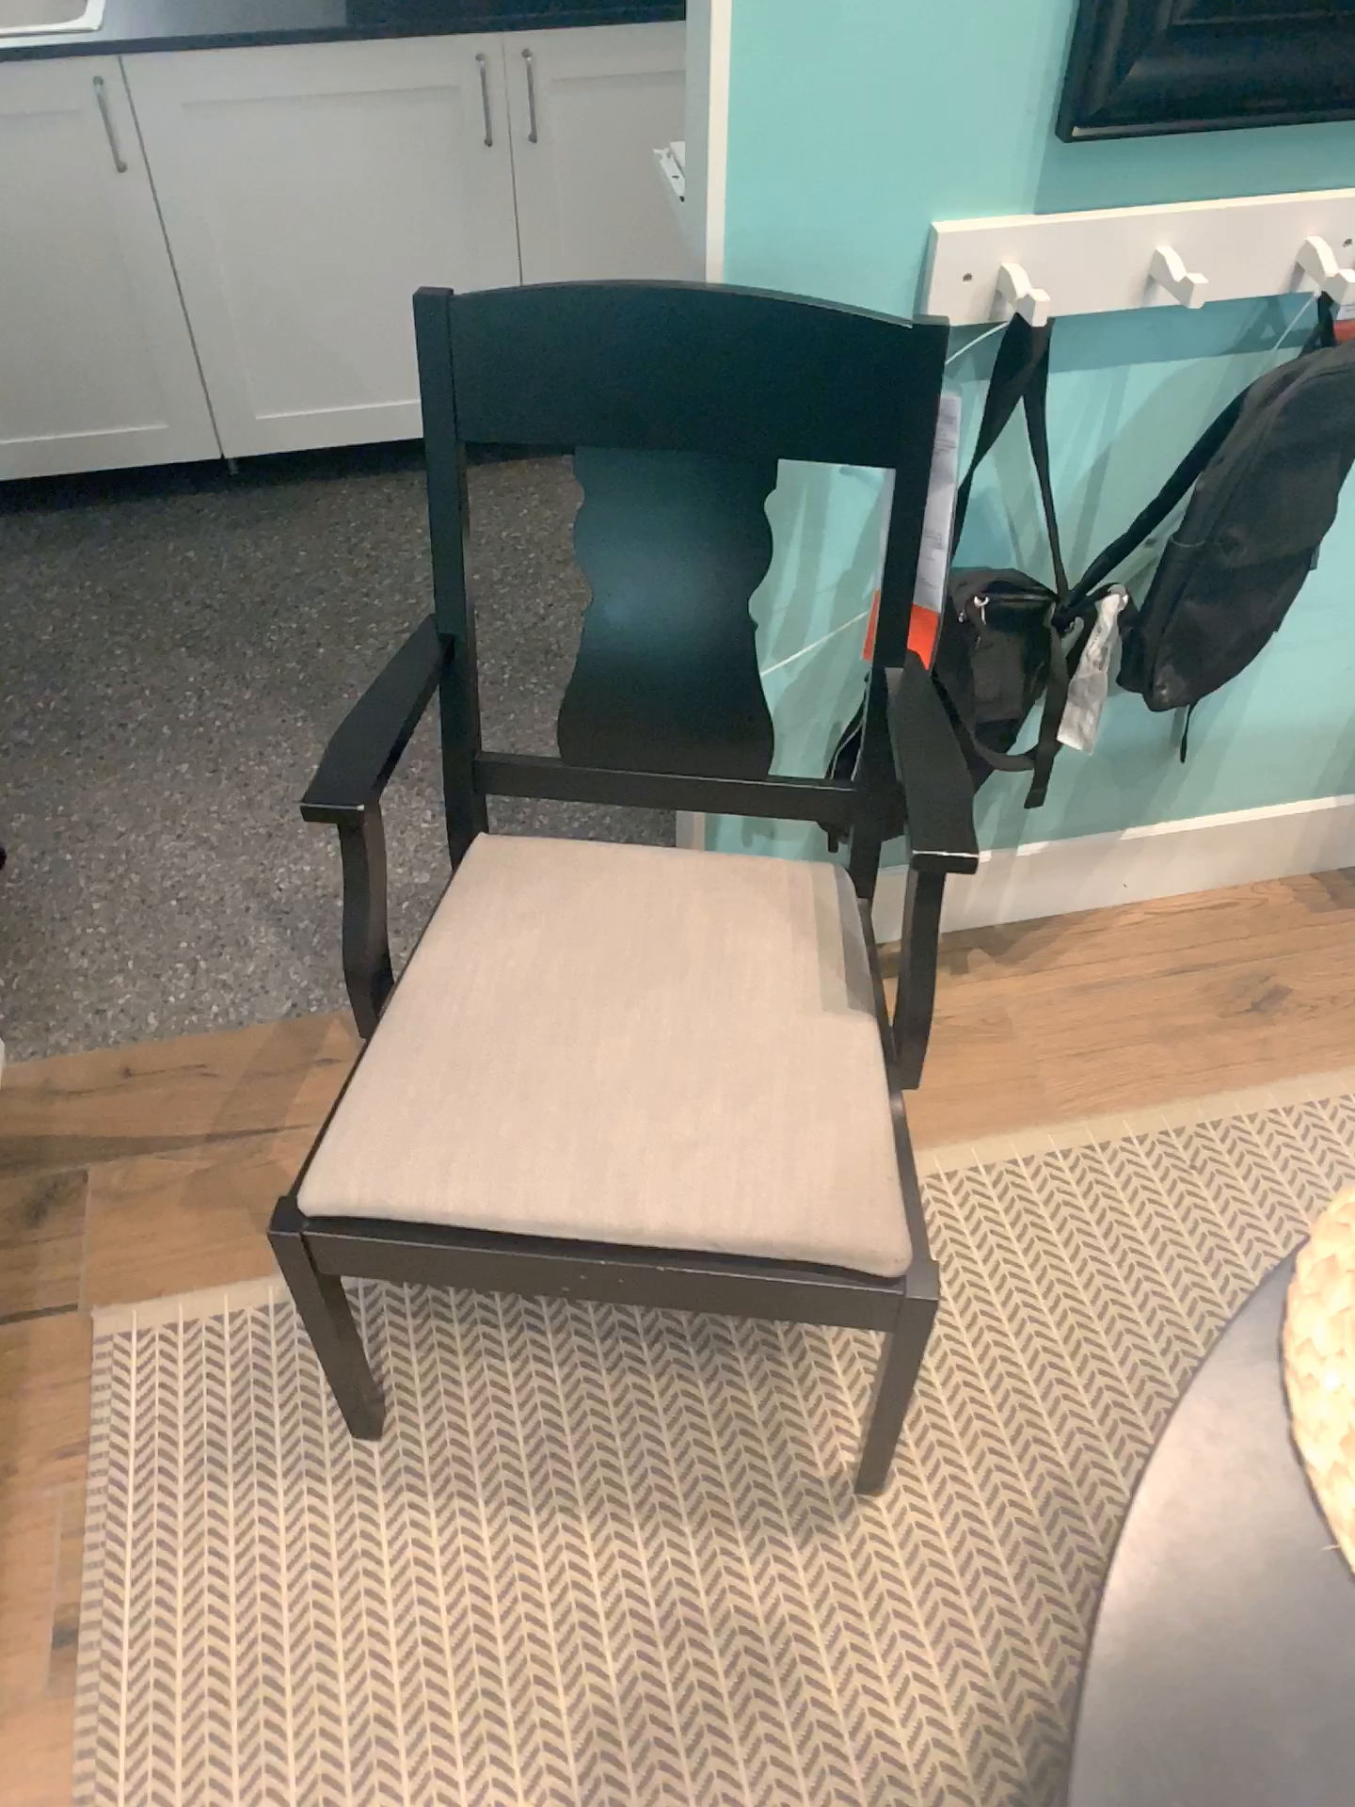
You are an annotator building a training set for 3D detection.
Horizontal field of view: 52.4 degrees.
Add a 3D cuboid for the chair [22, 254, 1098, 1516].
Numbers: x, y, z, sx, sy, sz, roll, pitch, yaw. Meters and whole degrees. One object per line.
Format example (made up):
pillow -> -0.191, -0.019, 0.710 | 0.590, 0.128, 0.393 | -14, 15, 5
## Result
chair -> -0.033, 0.000, 1.360 | 0.600, 0.897, 0.803 | 5, 48, 4
